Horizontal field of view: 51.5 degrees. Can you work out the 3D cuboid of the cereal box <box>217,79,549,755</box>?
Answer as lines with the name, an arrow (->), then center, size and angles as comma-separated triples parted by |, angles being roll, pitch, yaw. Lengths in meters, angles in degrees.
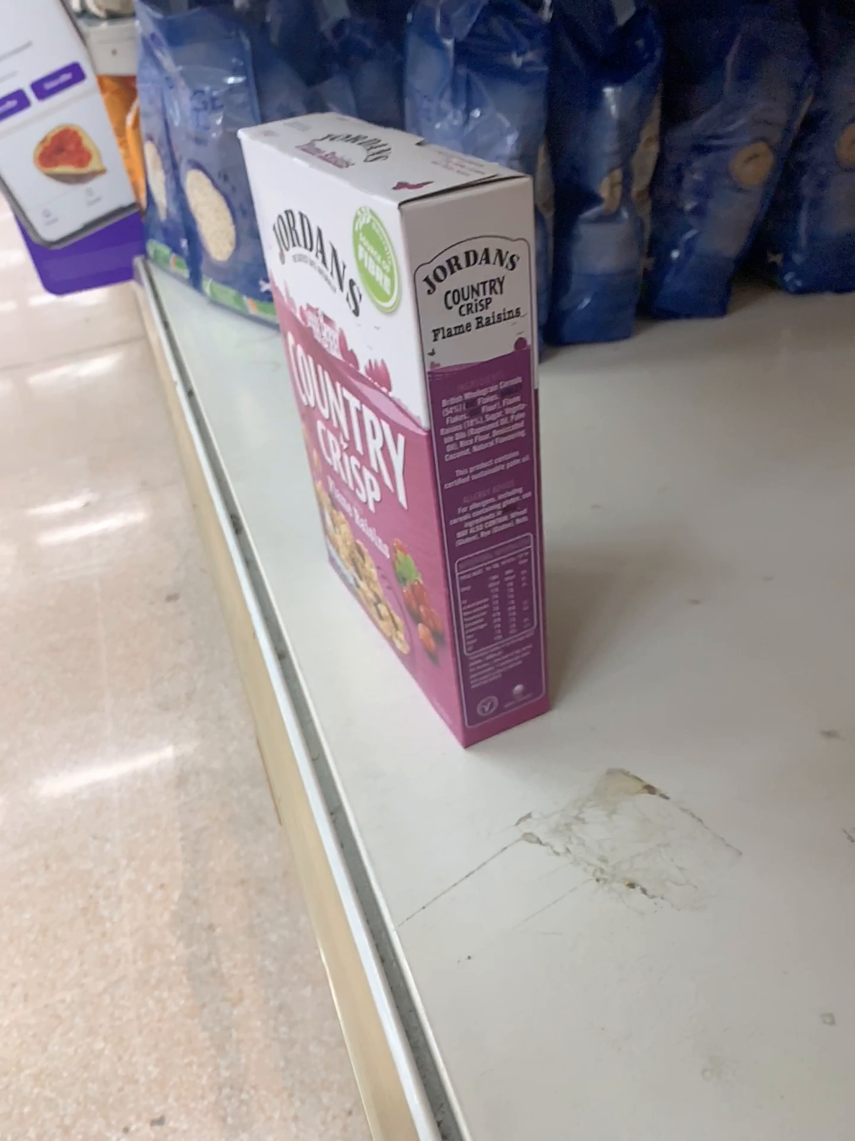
cereal box -> -0.019, -0.073, 0.406 | 0.050, 0.248, 0.192 | -20, 38, -18
